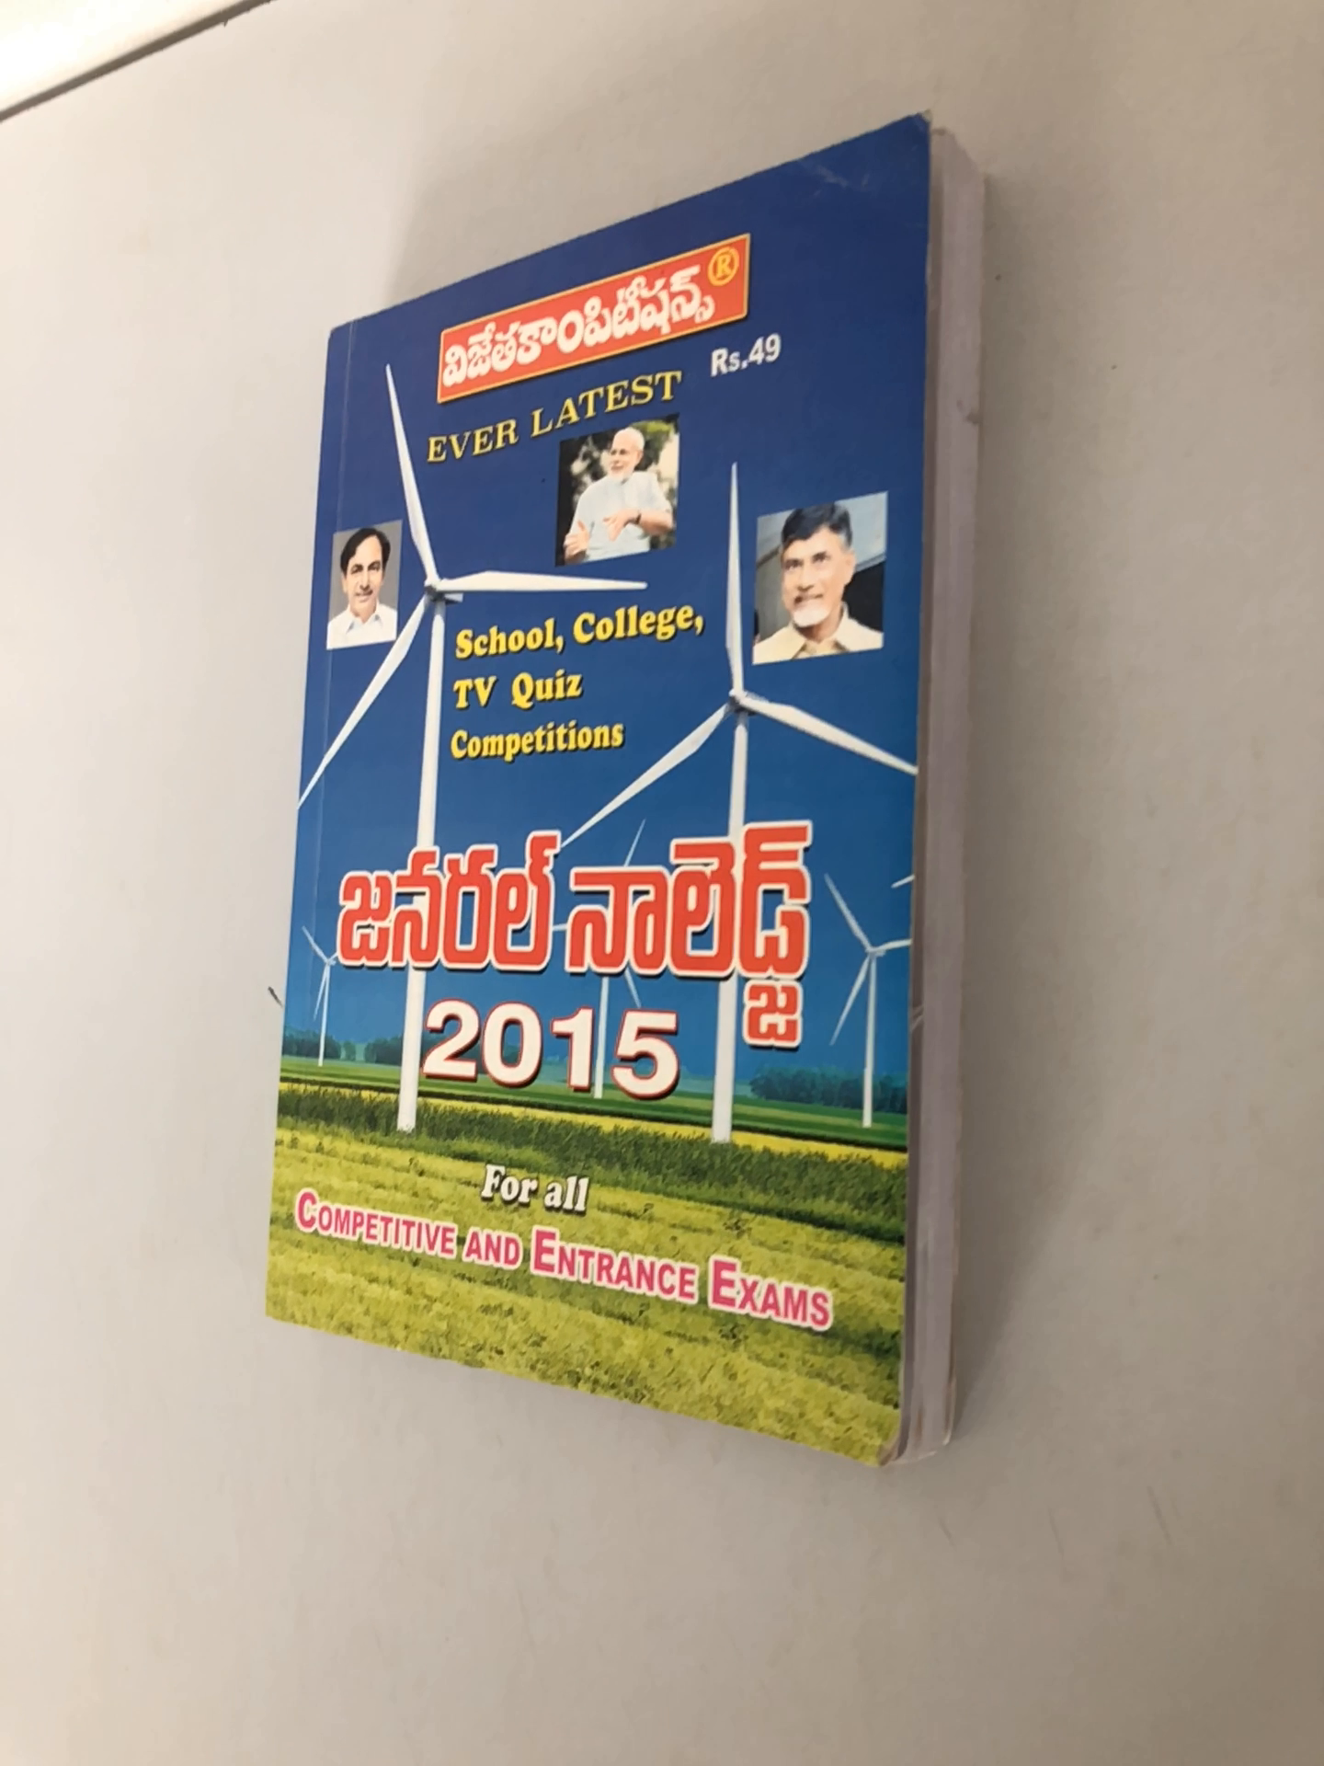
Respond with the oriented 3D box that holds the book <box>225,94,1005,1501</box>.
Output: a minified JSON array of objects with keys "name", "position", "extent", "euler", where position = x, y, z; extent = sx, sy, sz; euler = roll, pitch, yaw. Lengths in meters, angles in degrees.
[{"name":"book","position":[-0.013,-0.013,0.235],"extent":[0.129,0.022,0.182],"euler":[-1,84,36]}]
